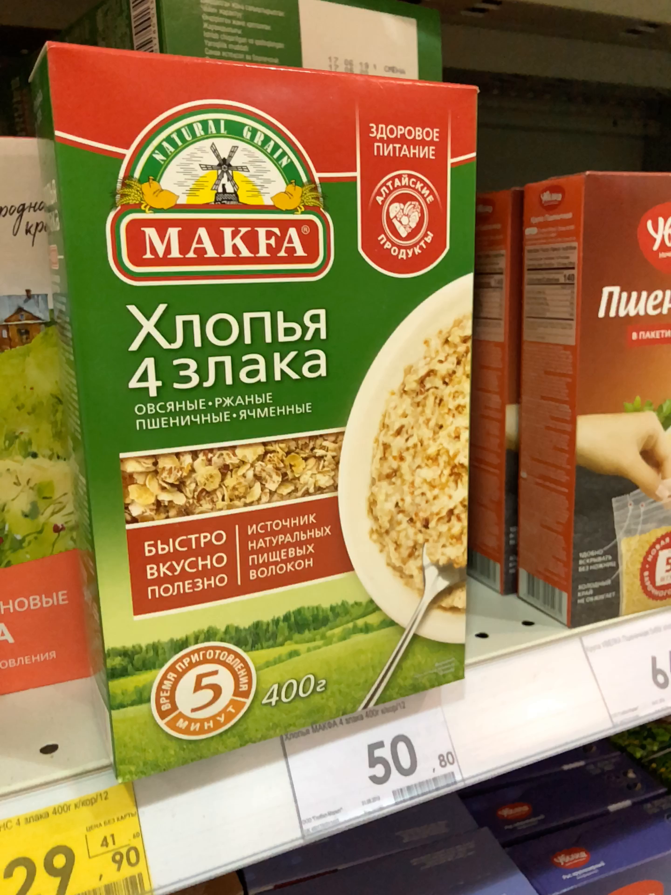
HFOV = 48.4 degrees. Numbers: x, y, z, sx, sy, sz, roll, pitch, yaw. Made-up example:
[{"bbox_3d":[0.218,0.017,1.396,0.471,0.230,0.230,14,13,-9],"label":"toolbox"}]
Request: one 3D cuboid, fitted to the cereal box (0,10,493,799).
[{"bbox_3d":[-0.024,-0.012,0.247,0.140,0.209,0.050,-7,15,-25],"label":"cereal box"}]
